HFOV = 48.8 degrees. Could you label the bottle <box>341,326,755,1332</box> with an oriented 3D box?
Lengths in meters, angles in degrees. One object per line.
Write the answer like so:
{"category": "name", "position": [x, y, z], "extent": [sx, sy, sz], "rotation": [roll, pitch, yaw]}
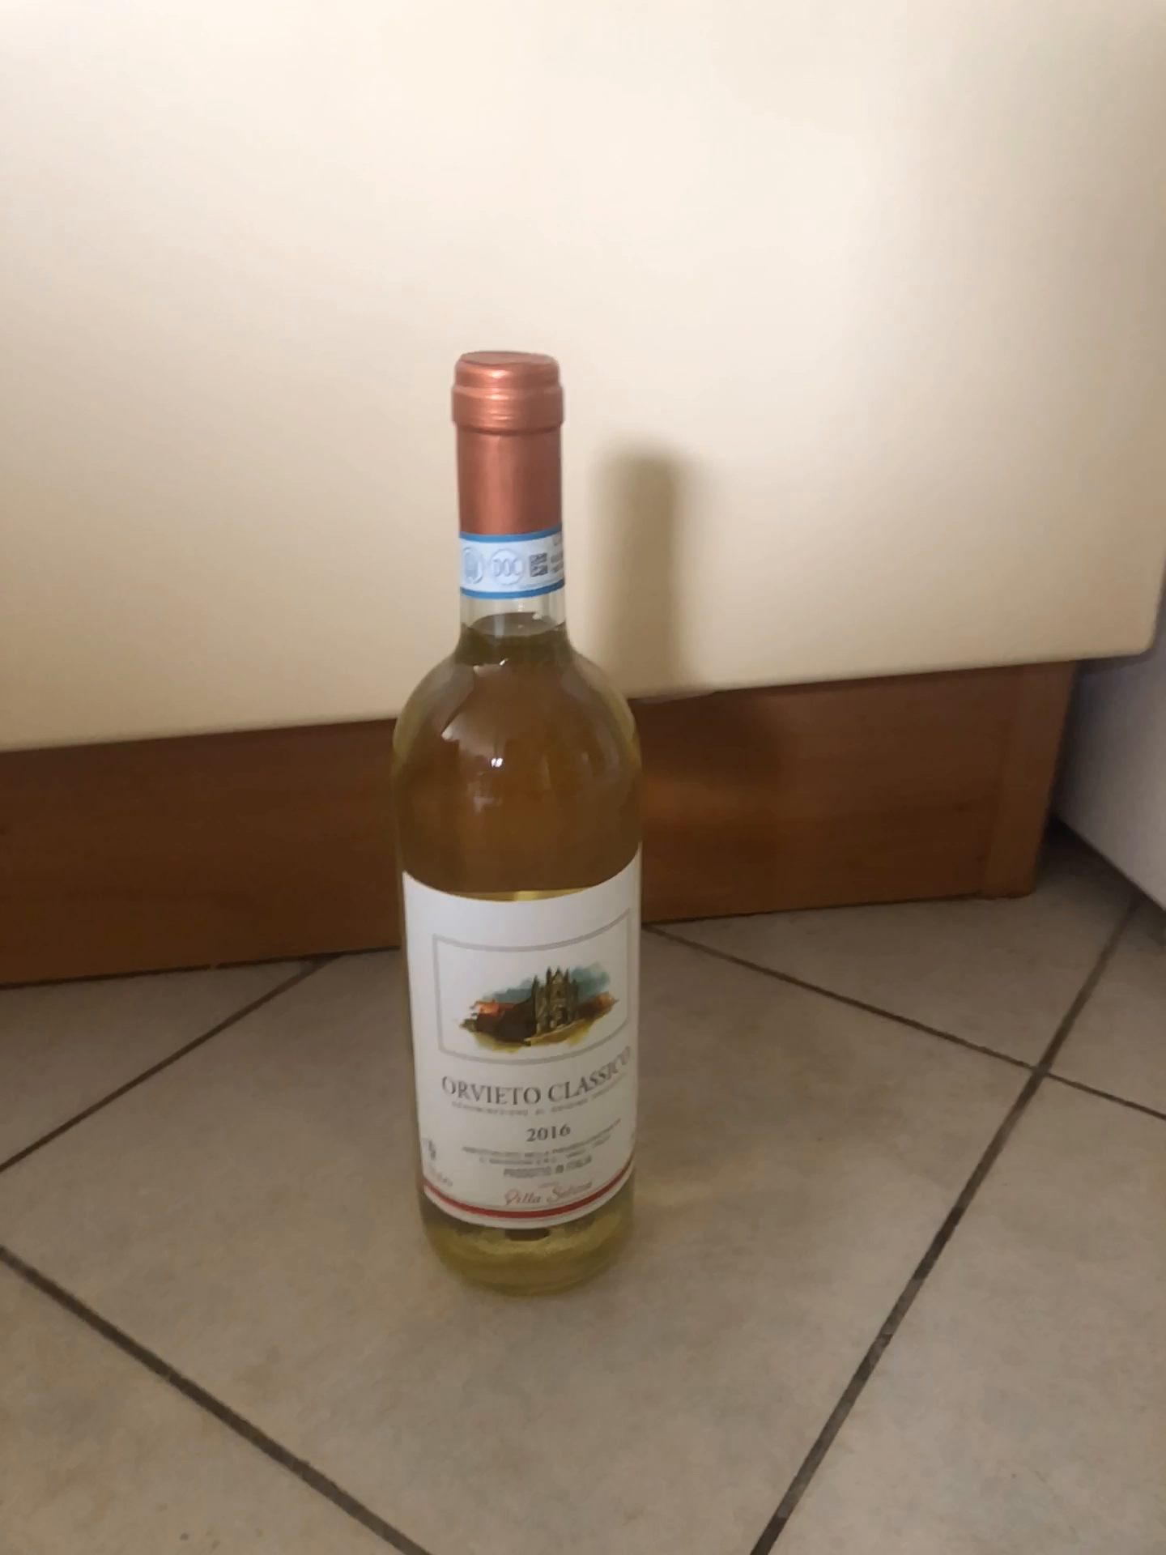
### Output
{"category": "bottle", "position": [-0.016, 0.020, 0.392], "extent": [0.090, 0.288, 0.090], "rotation": [1, 25, 0]}
